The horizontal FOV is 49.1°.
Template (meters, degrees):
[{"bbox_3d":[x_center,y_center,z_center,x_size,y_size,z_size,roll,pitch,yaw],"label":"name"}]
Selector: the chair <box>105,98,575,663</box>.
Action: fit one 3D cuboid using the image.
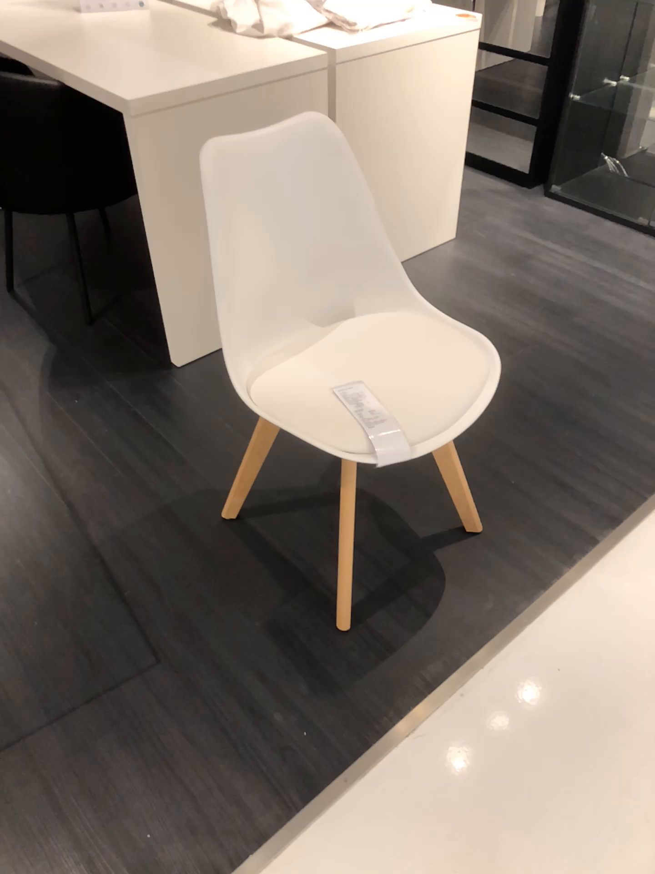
[{"bbox_3d":[0.008,-0.117,1.359,0.502,0.784,0.532,-28,48,-29],"label":"chair"}]
